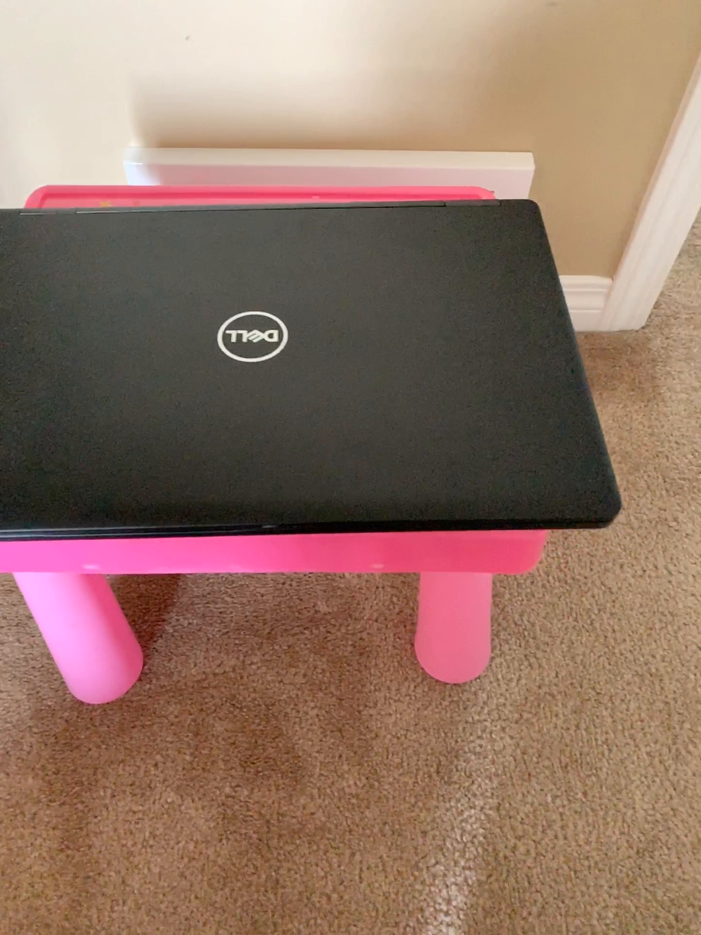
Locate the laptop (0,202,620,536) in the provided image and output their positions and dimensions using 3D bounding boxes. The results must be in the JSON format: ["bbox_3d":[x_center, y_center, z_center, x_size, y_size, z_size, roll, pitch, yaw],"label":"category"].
[{"bbox_3d":[-0.057,-0.072,0.413,0.366,0.005,0.241,-1,56,0],"label":"laptop"}]
